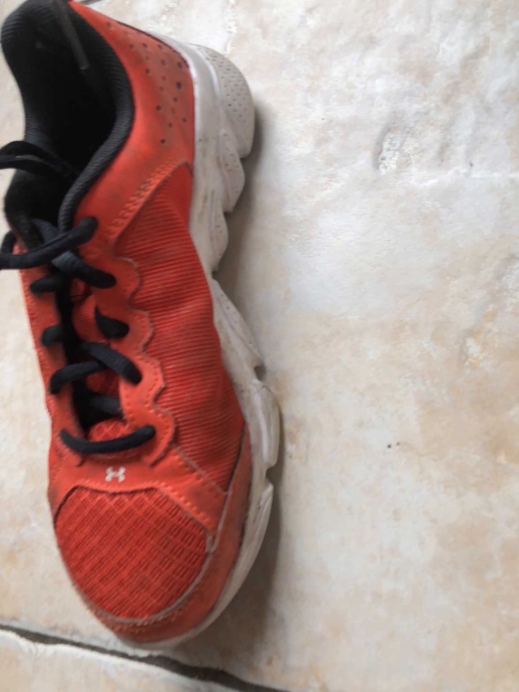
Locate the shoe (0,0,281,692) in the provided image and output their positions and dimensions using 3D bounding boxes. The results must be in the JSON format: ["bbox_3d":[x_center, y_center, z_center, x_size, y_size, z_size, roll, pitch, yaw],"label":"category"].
[{"bbox_3d":[-0.062,-0.014,0.193,0.100,0.100,0.240,-6,79,28],"label":"shoe"}]
